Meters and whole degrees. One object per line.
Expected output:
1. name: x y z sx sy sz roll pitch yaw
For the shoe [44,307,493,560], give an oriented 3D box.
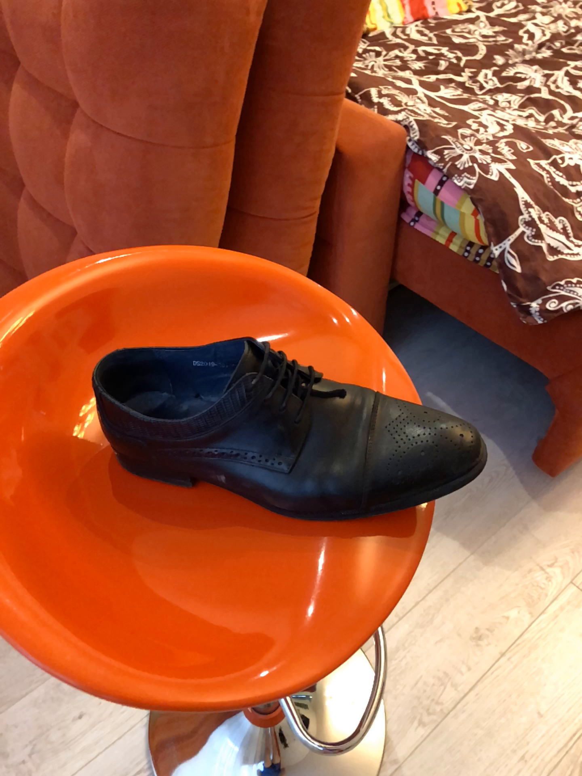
1. shoe: -0.010 0.027 0.483 0.300 0.079 0.121 9 48 10
